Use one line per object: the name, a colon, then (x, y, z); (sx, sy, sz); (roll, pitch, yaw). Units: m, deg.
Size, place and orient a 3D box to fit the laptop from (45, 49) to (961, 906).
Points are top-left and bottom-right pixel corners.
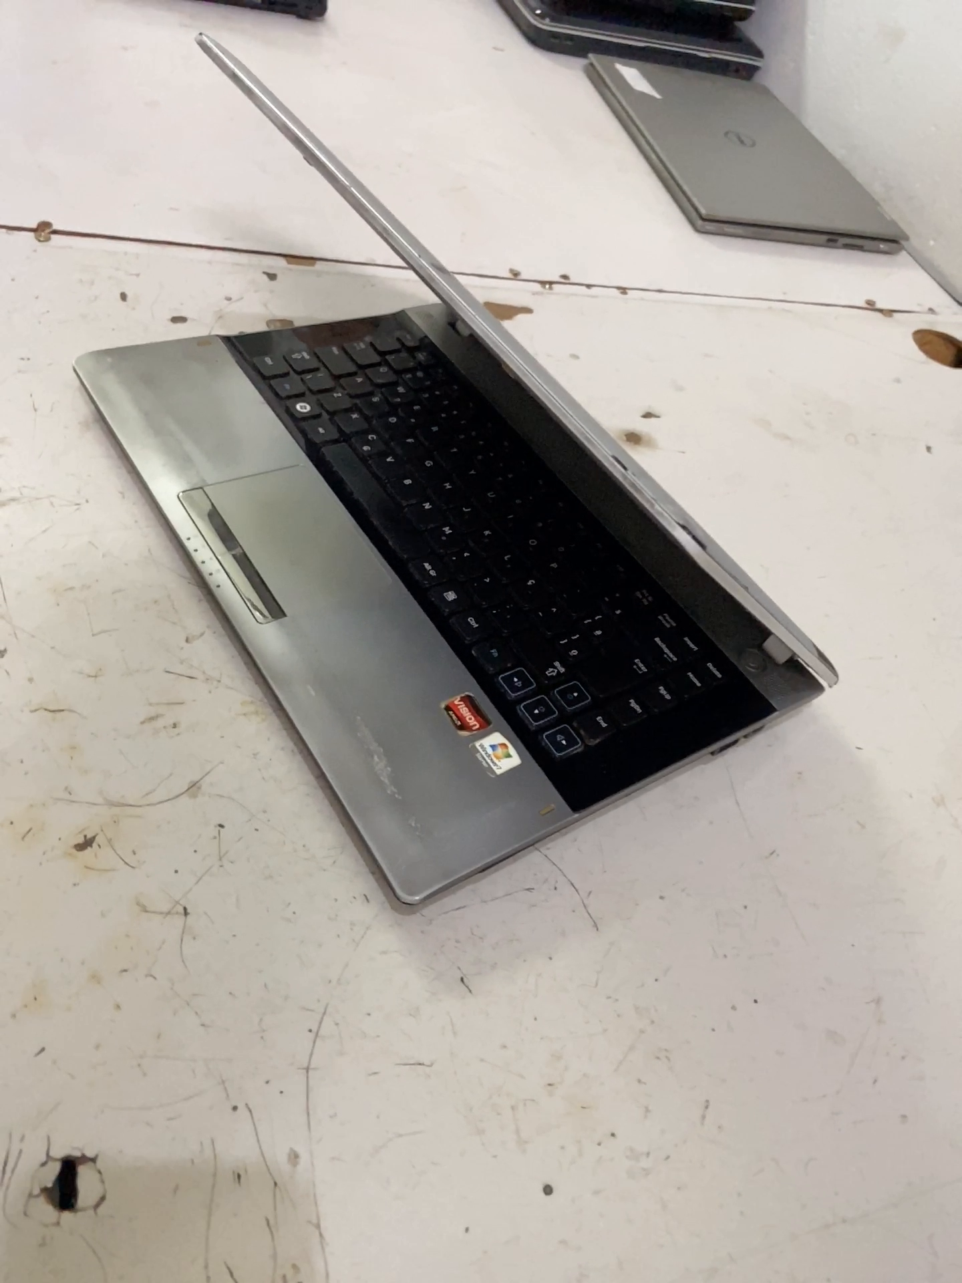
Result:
laptop: (-0.009, -0.110, 0.441); (0.234, 0.150, 0.345); (-20, 57, -30)
